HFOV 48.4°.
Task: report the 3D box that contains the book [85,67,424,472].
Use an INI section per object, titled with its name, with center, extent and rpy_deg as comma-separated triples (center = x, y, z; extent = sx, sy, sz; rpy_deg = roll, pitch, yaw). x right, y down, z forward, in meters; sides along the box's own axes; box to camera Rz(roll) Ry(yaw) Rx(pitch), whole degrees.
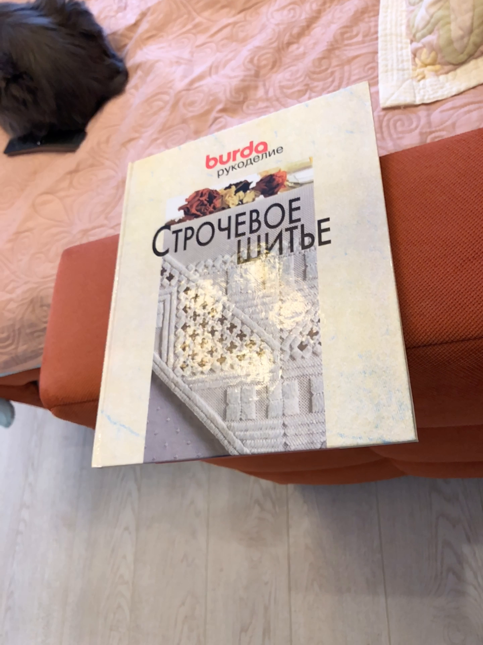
[book]
center = -0.003, -0.037, 0.374
extent = 0.215, 0.020, 0.259
rpy_deg = -11, 64, 24
